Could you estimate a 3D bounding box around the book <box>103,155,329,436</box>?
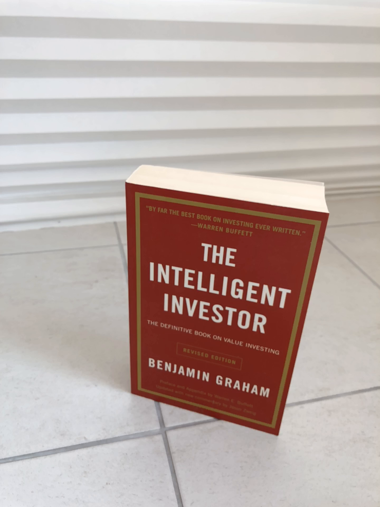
[{"bbox_3d":[0.016,0.037,0.350,0.149,0.206,0.057,10,31,14],"label":"book"}]
